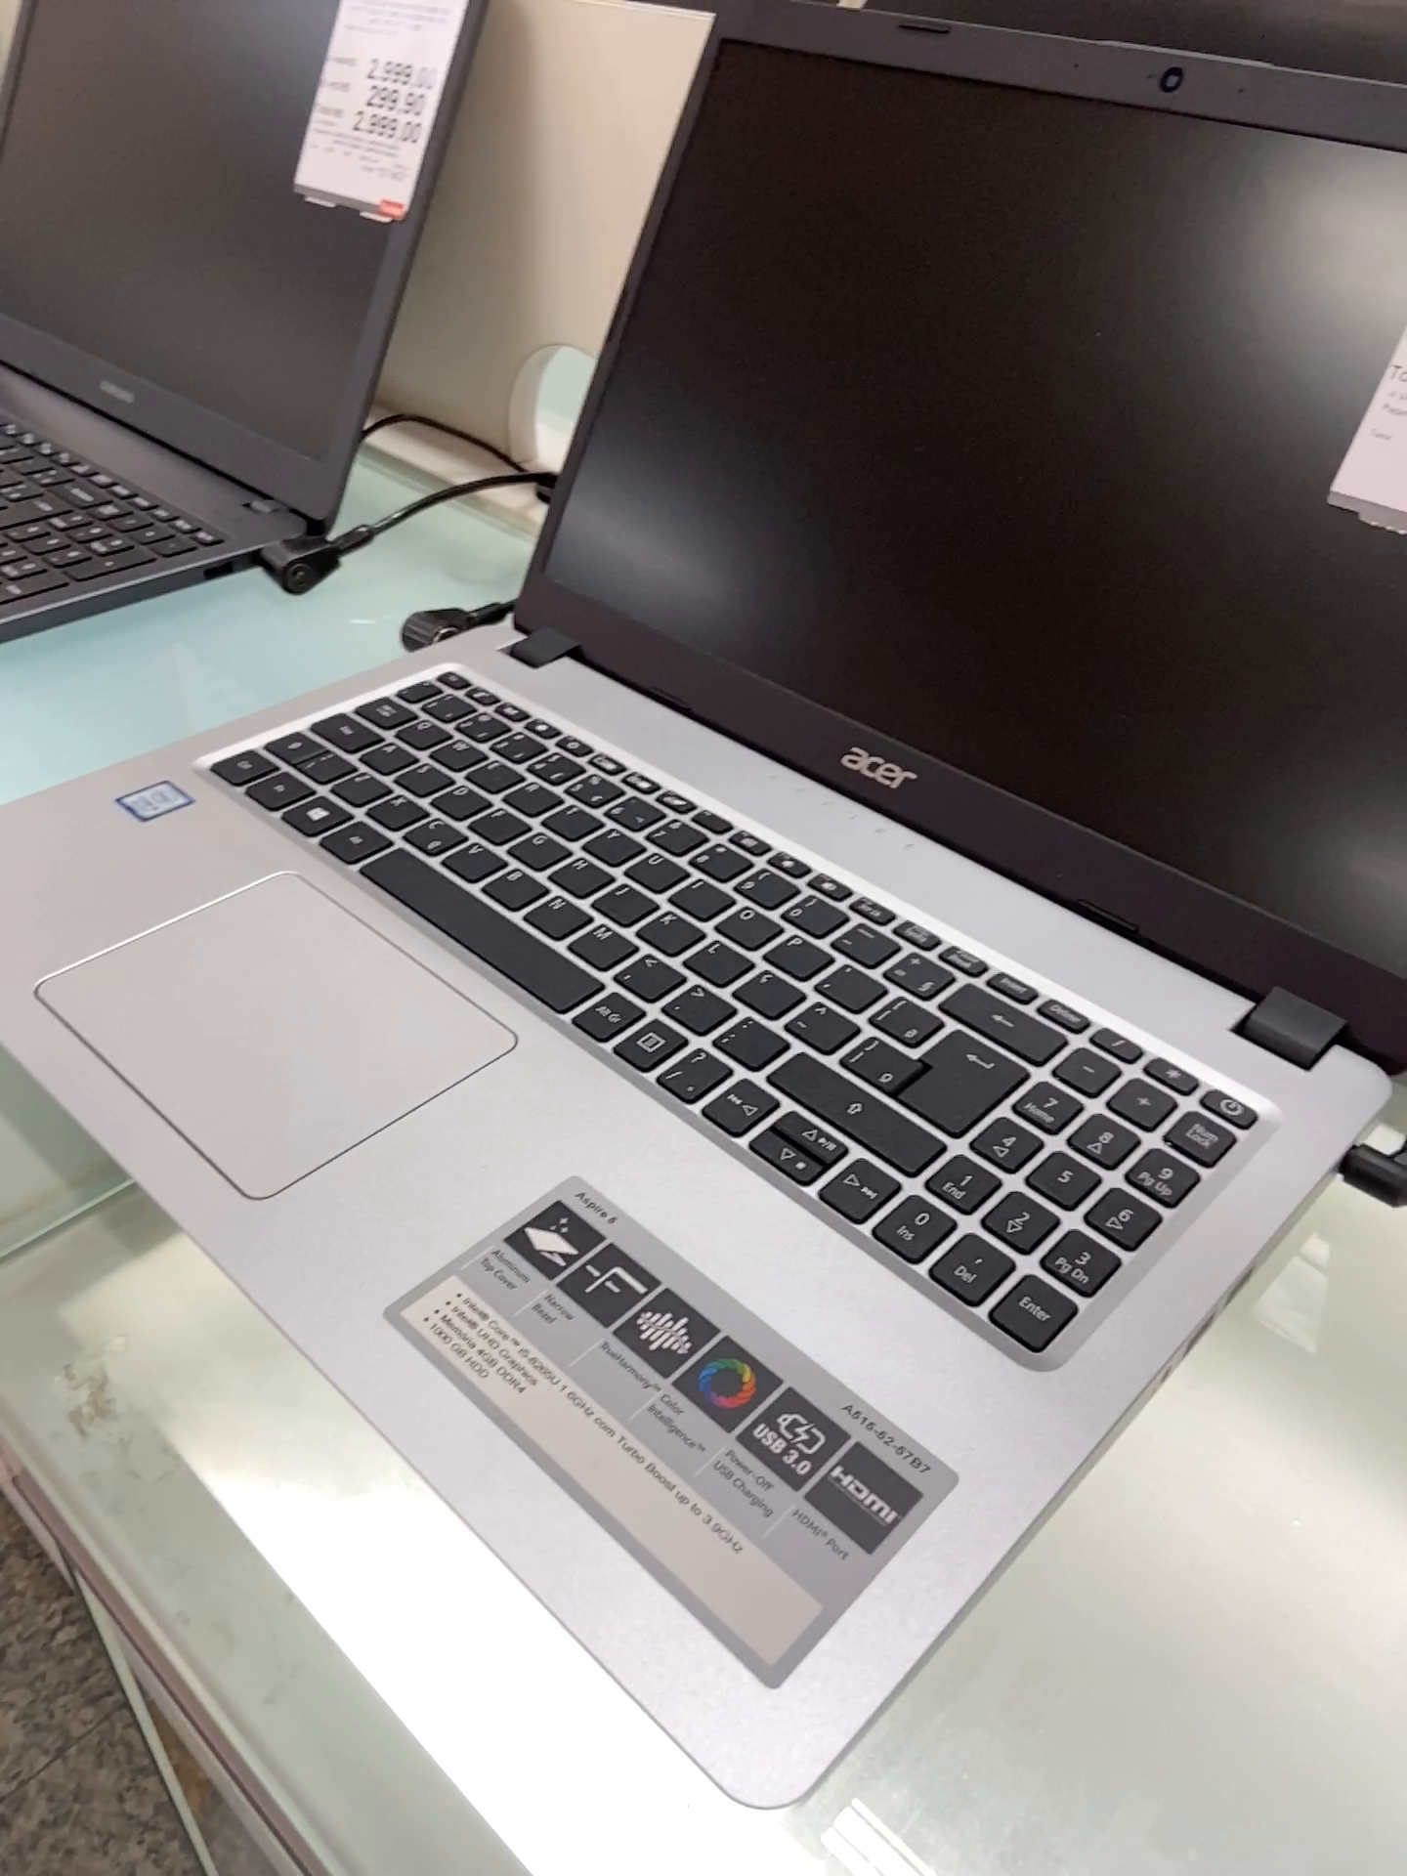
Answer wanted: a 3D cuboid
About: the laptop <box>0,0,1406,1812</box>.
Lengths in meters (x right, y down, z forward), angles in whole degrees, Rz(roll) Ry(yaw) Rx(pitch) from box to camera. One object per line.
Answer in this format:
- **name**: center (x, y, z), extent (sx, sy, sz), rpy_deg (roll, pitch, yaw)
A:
- **laptop**: center (0.009, -0.101, 0.382), extent (0.367, 0.205, 0.373), rpy_deg (31, 46, 33)
